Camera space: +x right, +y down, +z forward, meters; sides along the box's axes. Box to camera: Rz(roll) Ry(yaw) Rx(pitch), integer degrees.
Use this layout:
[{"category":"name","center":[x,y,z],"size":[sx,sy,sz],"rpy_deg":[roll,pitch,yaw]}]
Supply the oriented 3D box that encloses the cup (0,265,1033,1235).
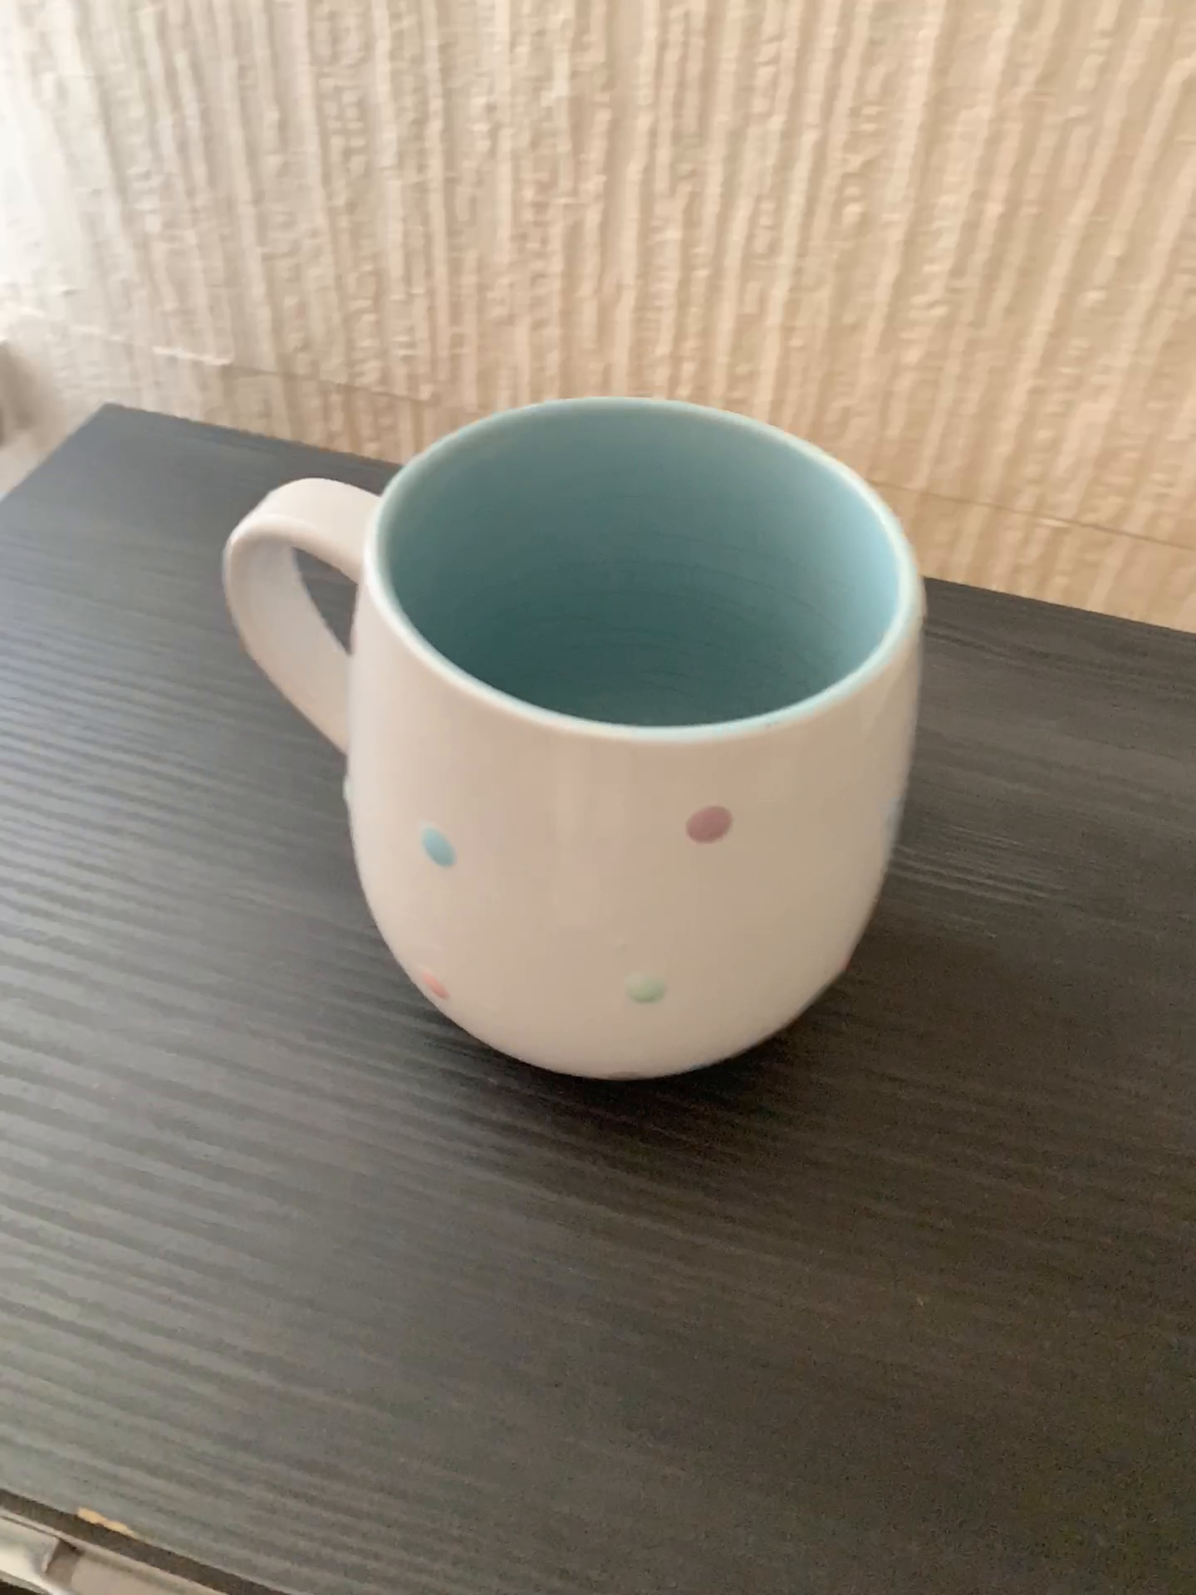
[{"category":"cup","center":[-0.012,-0.015,0.232],"size":[0.130,0.099,0.101],"rpy_deg":[27,51,19]}]
